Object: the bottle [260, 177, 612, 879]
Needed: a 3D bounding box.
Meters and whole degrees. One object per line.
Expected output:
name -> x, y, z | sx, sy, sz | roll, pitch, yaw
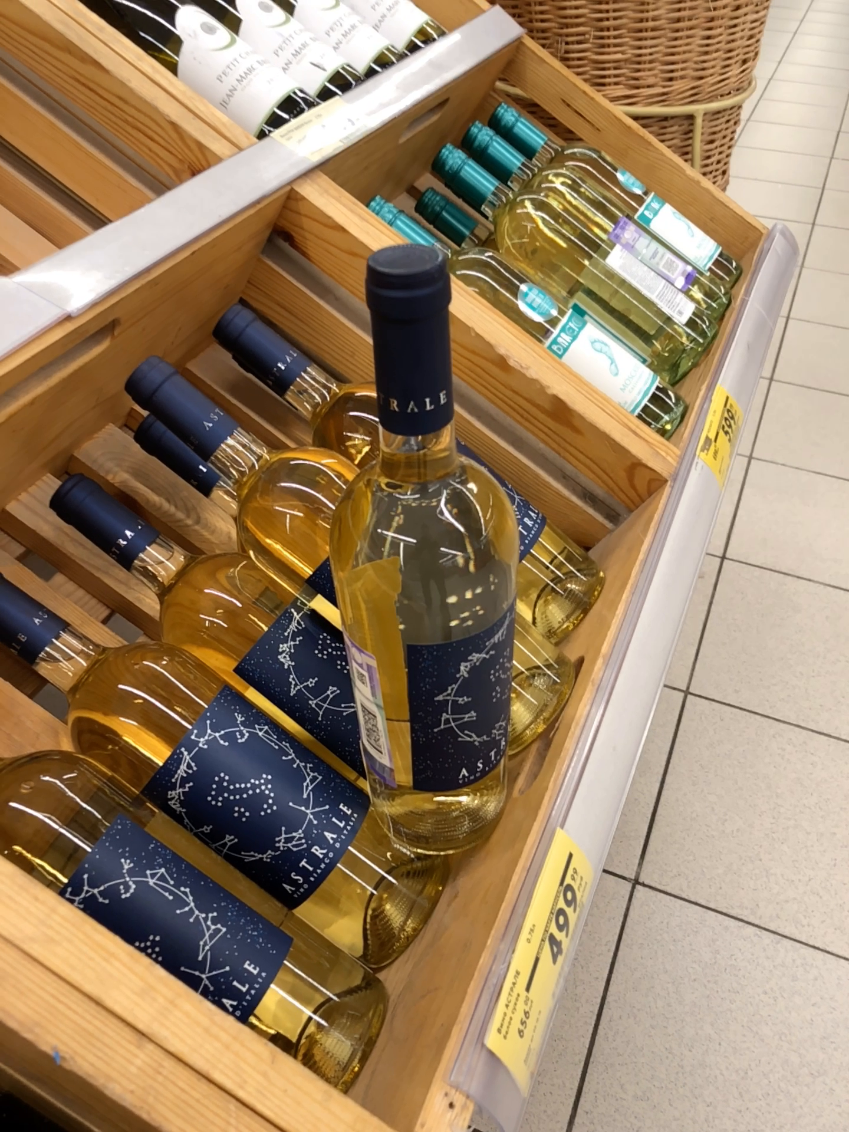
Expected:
bottle -> 0.010, -0.001, 0.391 | 0.080, 0.278, 0.090 | 20, 44, 25
